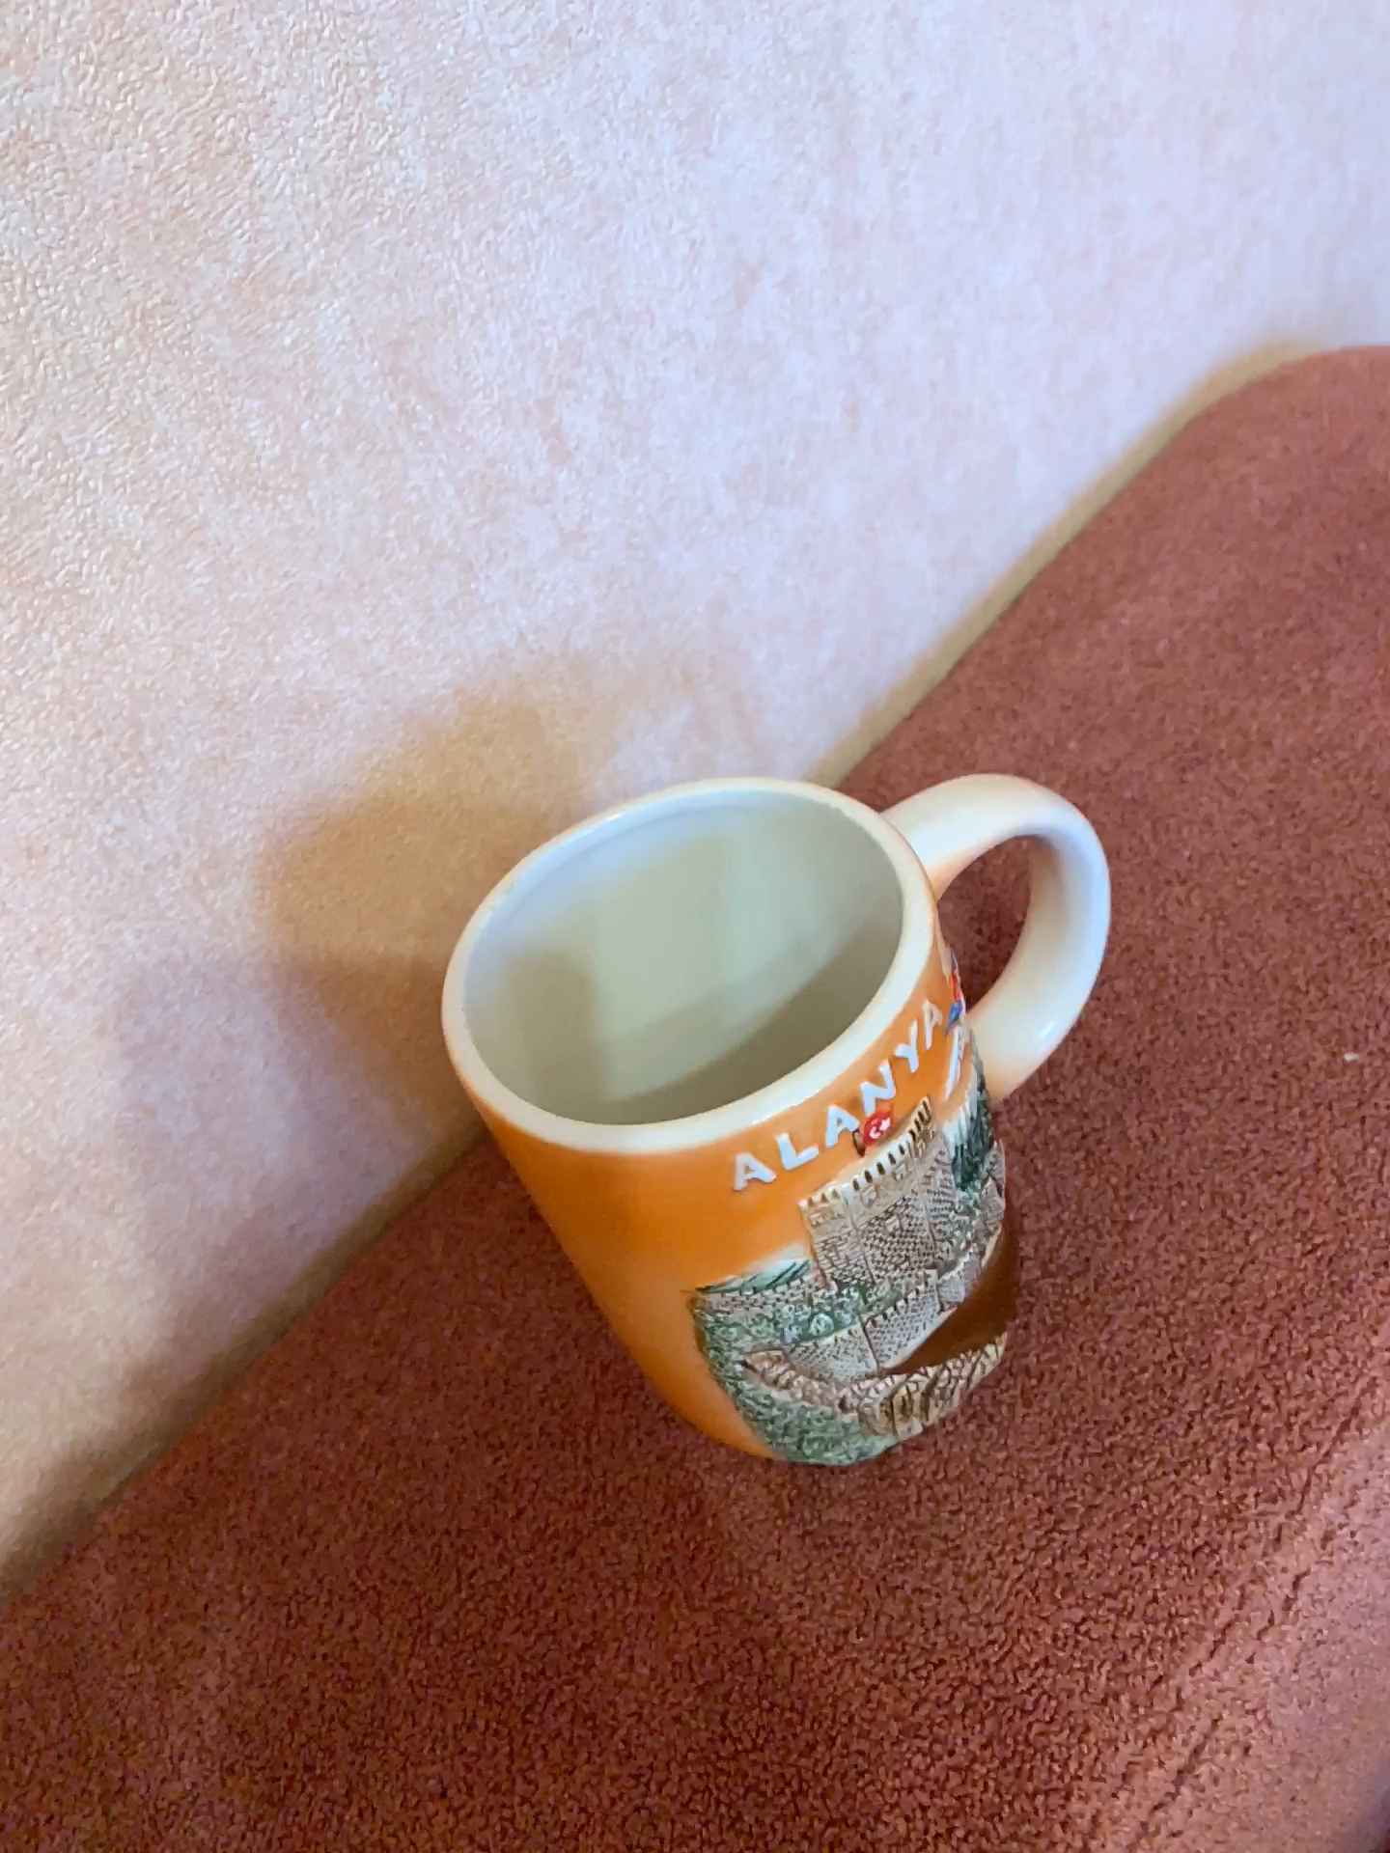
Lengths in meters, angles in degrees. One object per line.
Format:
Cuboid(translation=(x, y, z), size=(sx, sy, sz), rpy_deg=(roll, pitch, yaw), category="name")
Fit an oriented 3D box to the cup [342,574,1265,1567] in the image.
Cuboid(translation=(0.027, 0.022, 0.261), size=(0.119, 0.098, 0.088), rpy_deg=(-40, 48, -18), category="cup")
